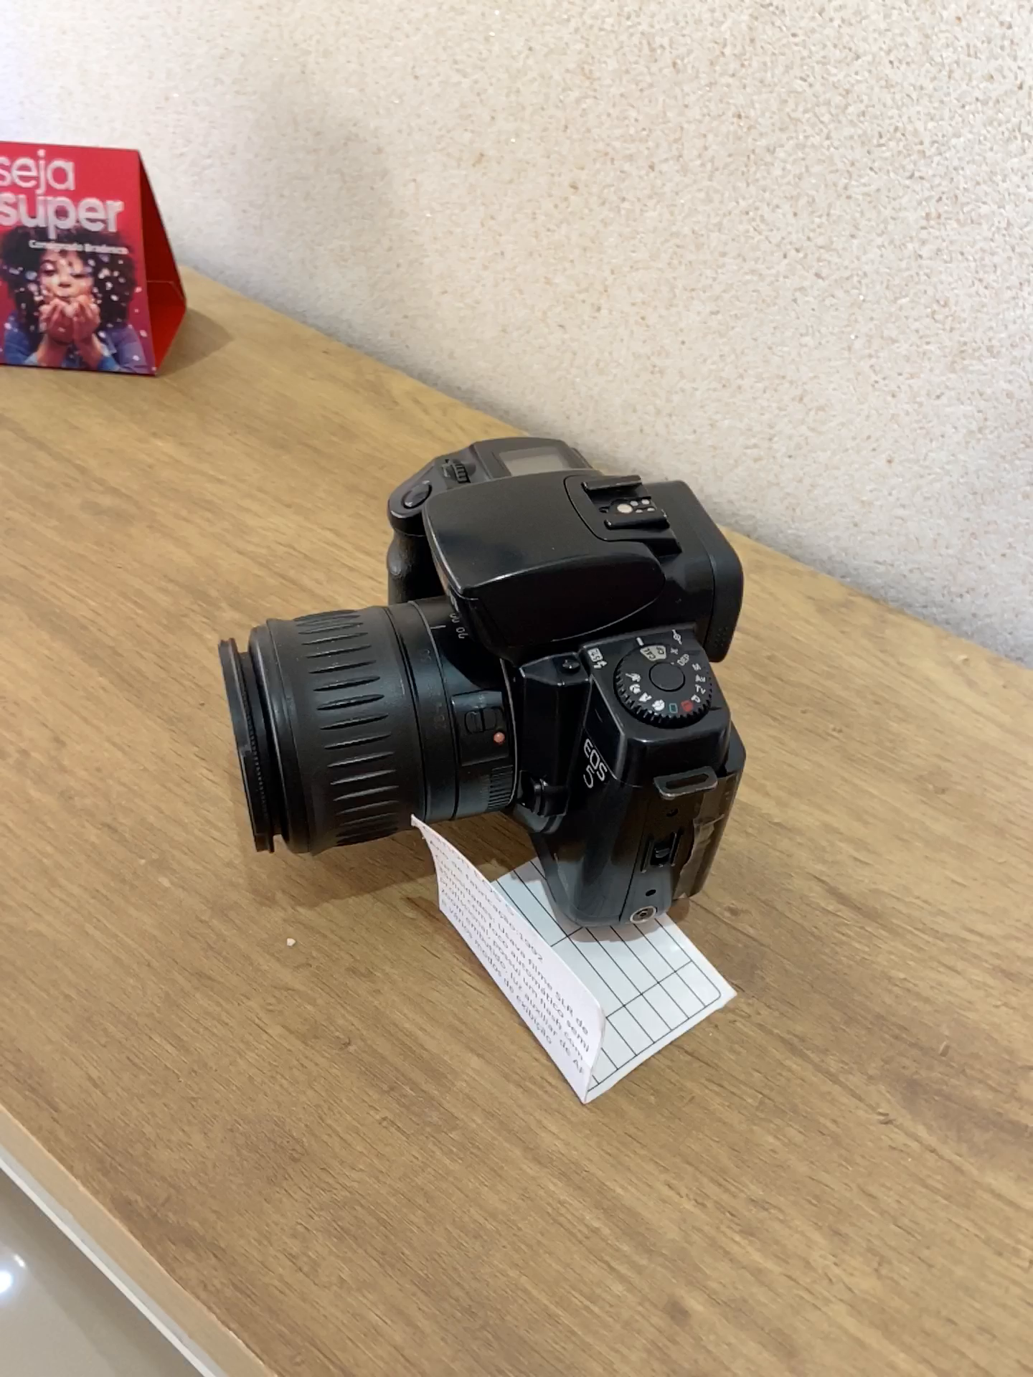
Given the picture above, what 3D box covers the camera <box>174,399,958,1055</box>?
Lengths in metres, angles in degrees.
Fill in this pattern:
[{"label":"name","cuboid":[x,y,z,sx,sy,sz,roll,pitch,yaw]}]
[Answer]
[{"label":"camera","cuboid":[0.003,-0.004,0.339,0.180,0.080,0.161,-14,47,-17]}]
